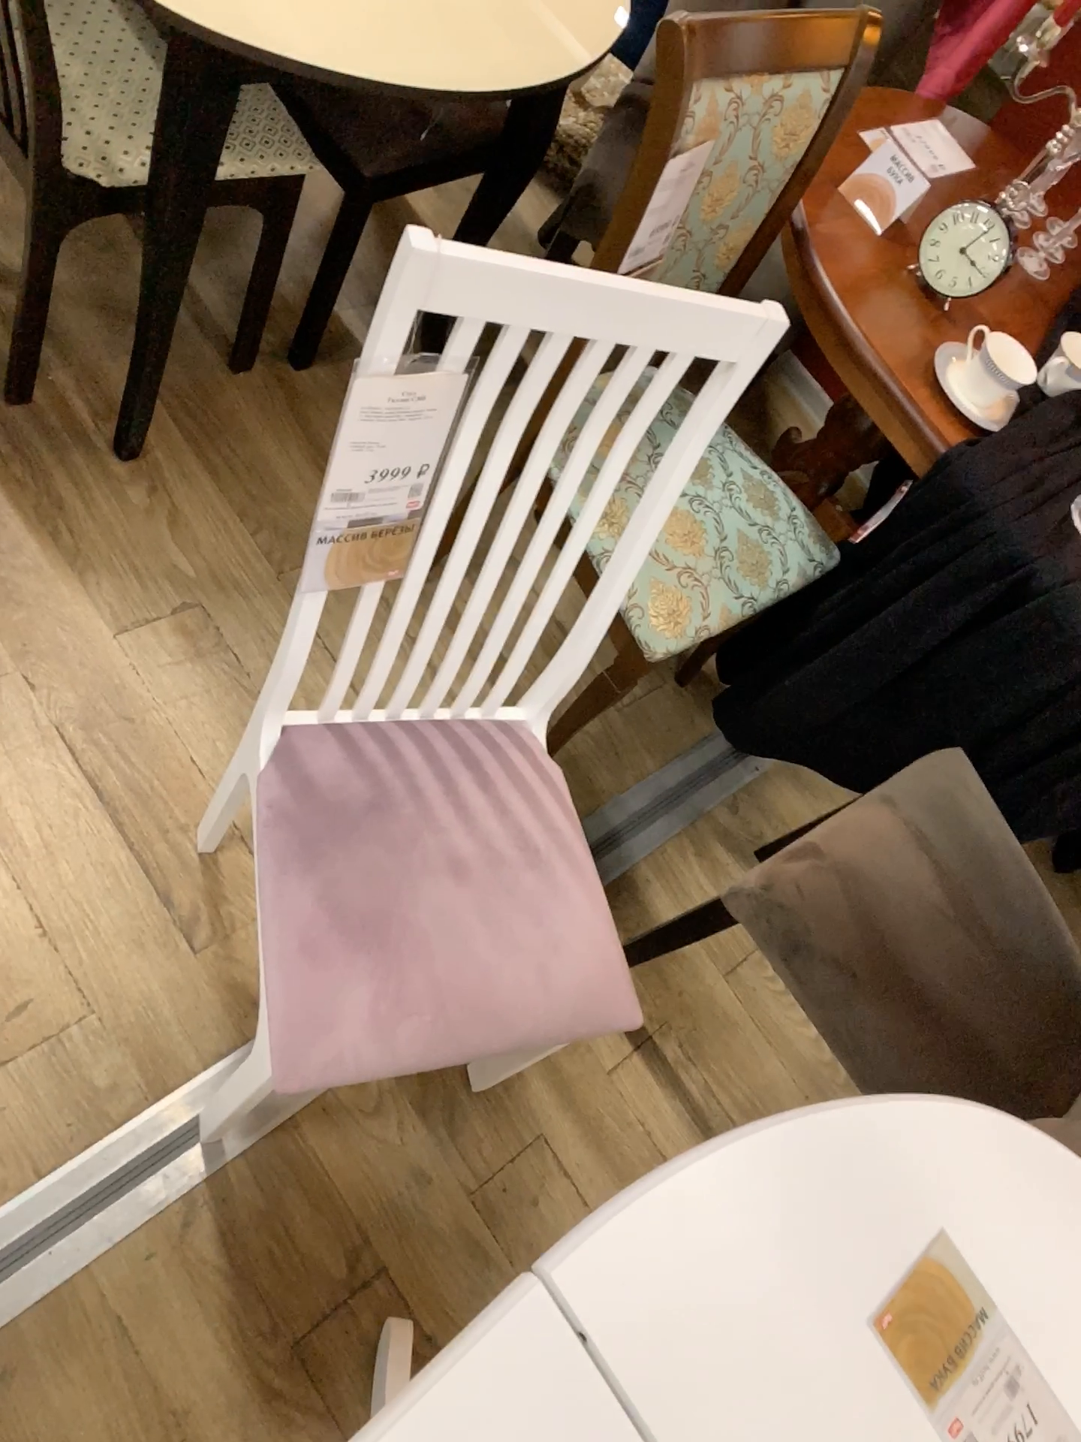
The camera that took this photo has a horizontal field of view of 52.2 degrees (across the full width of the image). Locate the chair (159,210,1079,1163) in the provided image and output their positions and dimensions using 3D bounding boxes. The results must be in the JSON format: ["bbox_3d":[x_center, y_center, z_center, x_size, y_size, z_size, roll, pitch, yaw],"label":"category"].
[{"bbox_3d":[-0.078,0.091,1.179,0.441,1.004,0.521,-1,65,-29],"label":"chair"}]
